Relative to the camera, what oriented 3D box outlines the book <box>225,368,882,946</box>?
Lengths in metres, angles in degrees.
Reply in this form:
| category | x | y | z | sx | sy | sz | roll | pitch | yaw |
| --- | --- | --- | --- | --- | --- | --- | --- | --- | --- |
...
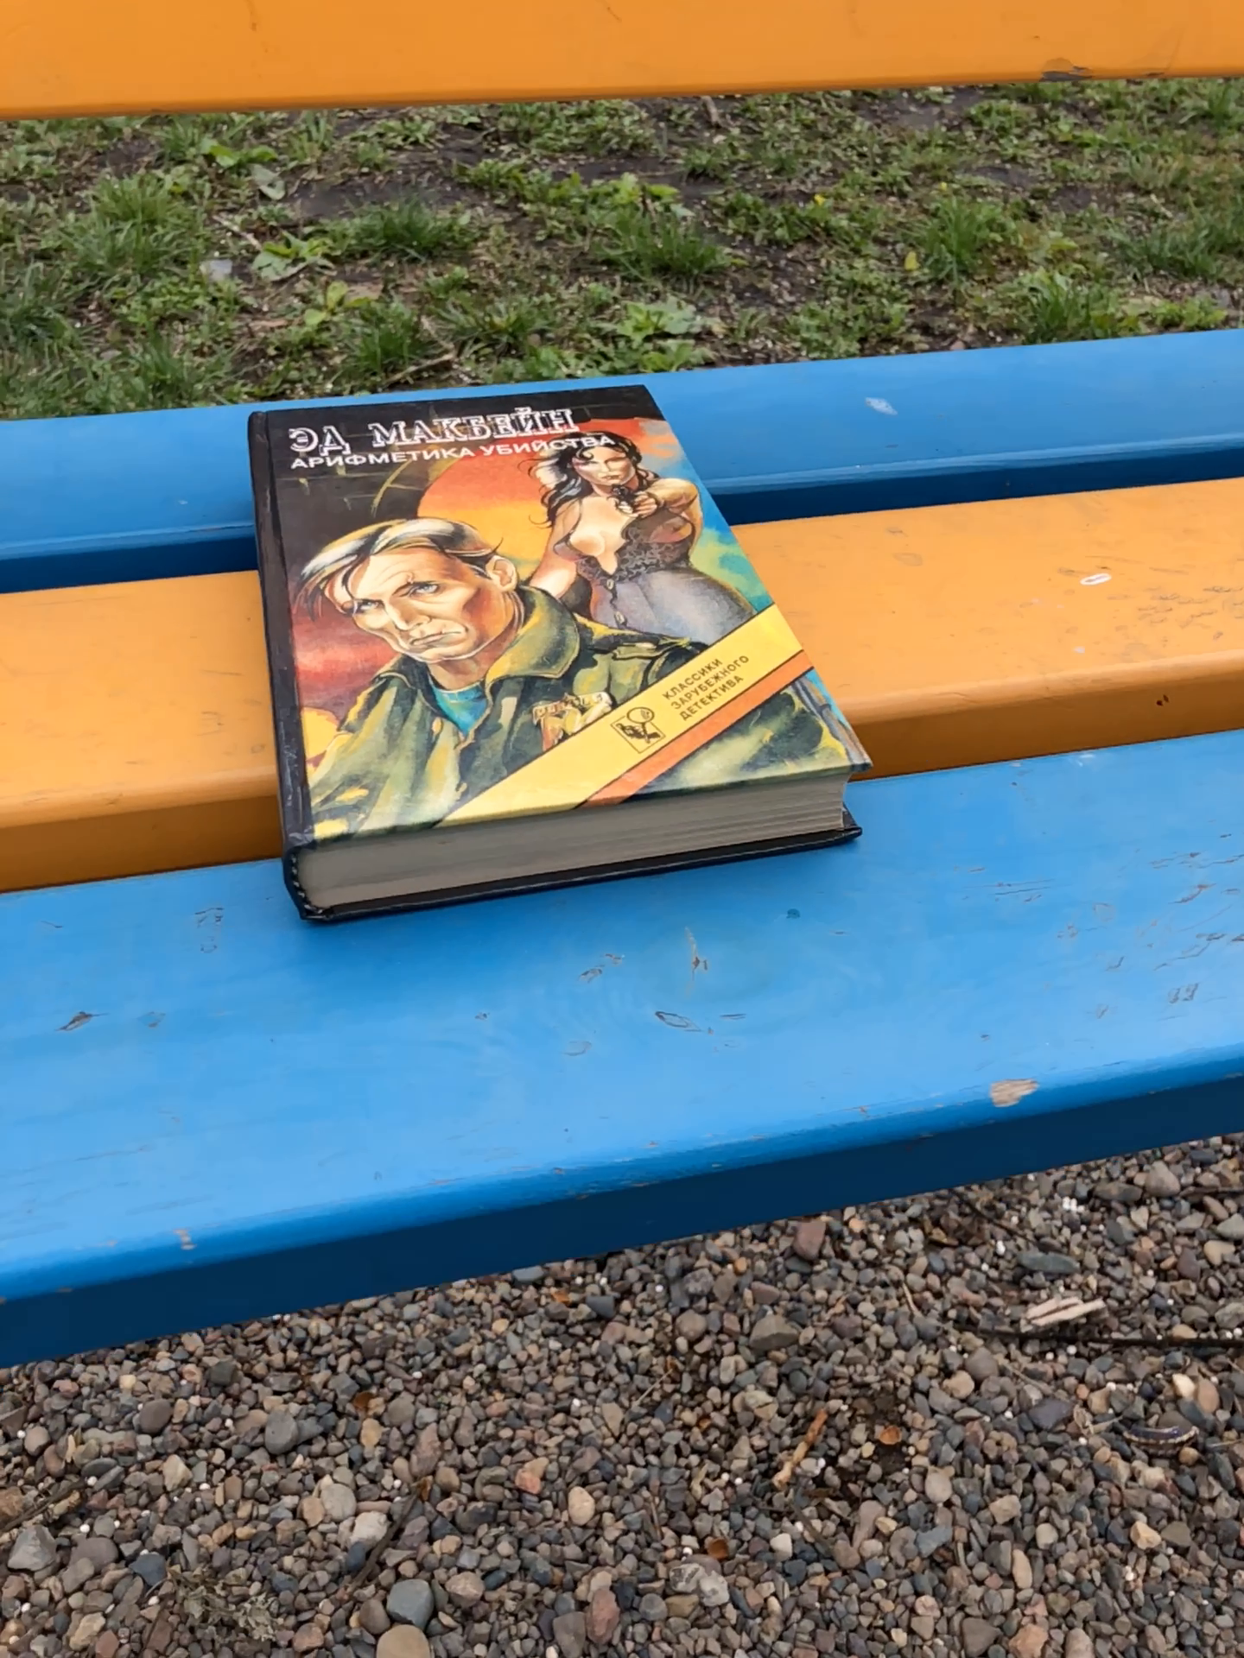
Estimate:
| category | x | y | z | sx | sy | sz | roll | pitch | yaw |
| --- | --- | --- | --- | --- | --- | --- | --- | --- | --- |
| book | -0.034 | -0.064 | 0.380 | 0.135 | 0.030 | 0.211 | -9 | 43 | -12 |
